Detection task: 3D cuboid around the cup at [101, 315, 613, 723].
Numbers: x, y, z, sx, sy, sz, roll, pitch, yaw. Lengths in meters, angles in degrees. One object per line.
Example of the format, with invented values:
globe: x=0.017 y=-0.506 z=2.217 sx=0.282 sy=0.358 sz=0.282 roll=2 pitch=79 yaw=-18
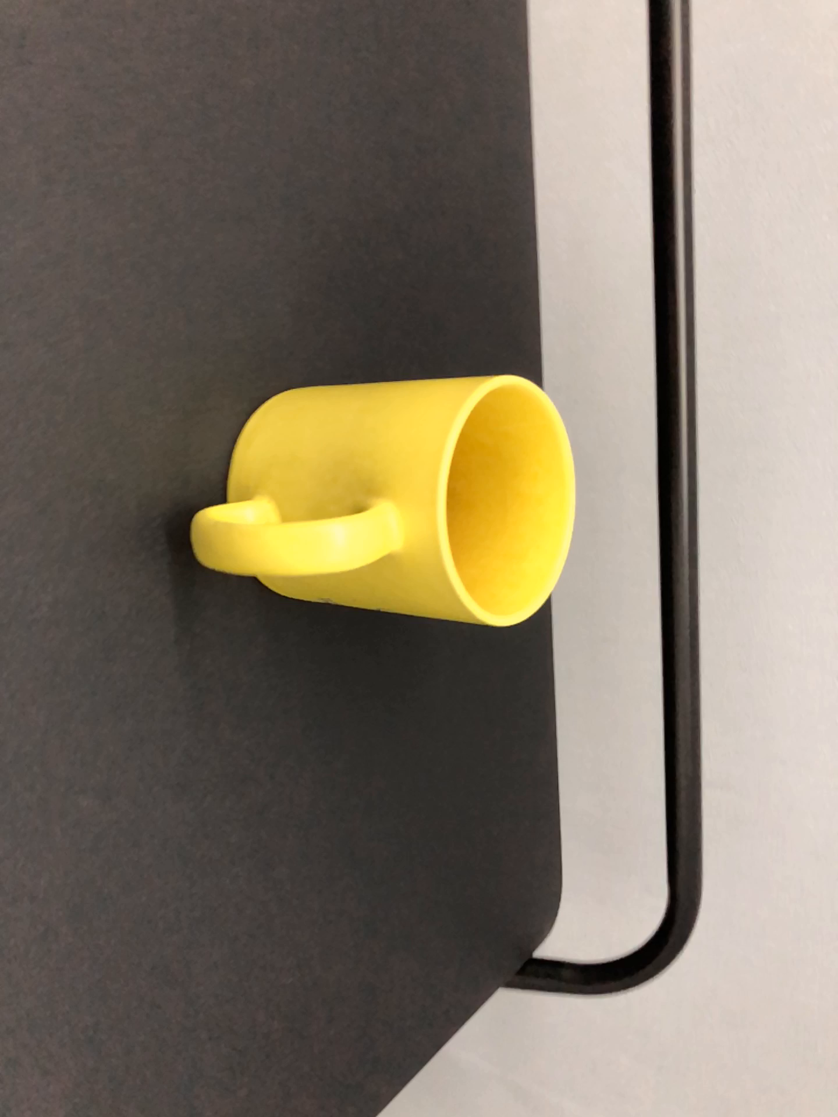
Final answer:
cup: x=-0.013 y=-0.022 z=0.312 sx=0.126 sy=0.101 sz=0.089 roll=-31 pitch=118 yaw=-48
